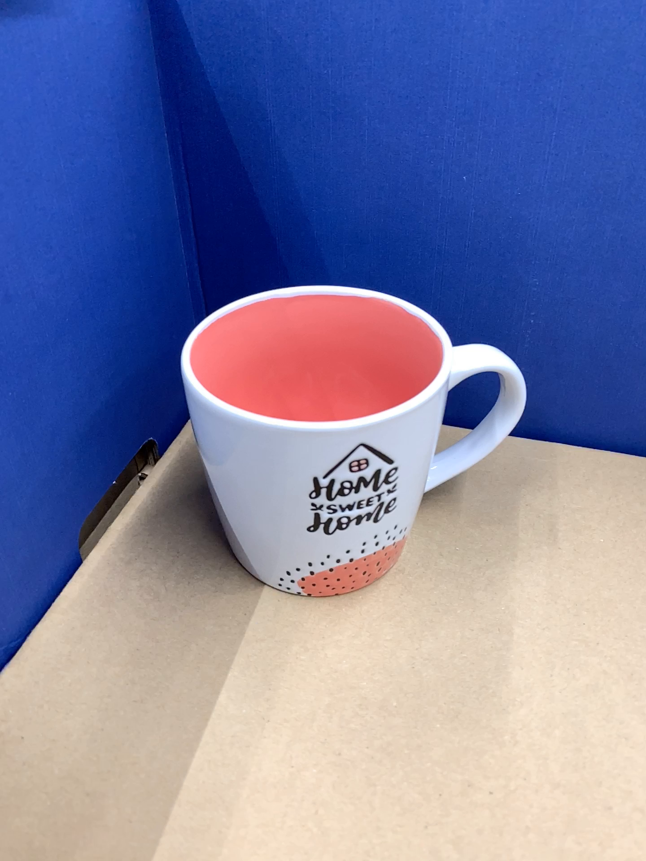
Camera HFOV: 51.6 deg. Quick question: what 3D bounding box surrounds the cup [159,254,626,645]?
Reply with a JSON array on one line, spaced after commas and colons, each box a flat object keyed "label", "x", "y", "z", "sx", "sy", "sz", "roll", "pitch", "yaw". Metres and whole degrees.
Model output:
[{"label": "cup", "x": 0.016, "y": -0.002, "z": 0.222, "sx": 0.115, "sy": 0.070, "sz": 0.083, "roll": -14, "pitch": 37, "yaw": -17}]
